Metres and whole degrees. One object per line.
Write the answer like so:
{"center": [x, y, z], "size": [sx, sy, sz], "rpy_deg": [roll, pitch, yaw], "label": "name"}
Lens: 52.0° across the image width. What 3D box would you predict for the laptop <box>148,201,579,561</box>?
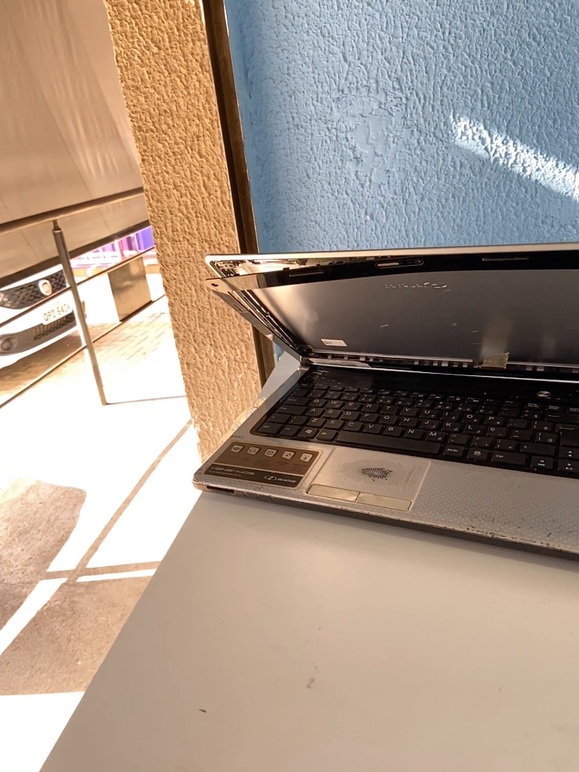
{"center": [0.103, -0.033, 0.481], "size": [0.326, 0.160, 0.233], "rpy_deg": [4, 27, 26], "label": "laptop"}
